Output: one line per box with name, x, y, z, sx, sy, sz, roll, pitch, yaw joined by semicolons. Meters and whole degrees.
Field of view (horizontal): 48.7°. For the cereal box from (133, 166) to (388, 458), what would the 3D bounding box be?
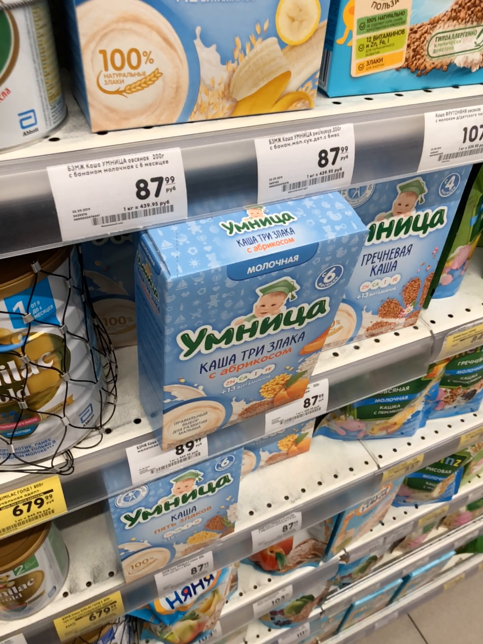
cereal box;-0.001;0.002;0.392;0.140;0.209;0.060;-16;54;-22
